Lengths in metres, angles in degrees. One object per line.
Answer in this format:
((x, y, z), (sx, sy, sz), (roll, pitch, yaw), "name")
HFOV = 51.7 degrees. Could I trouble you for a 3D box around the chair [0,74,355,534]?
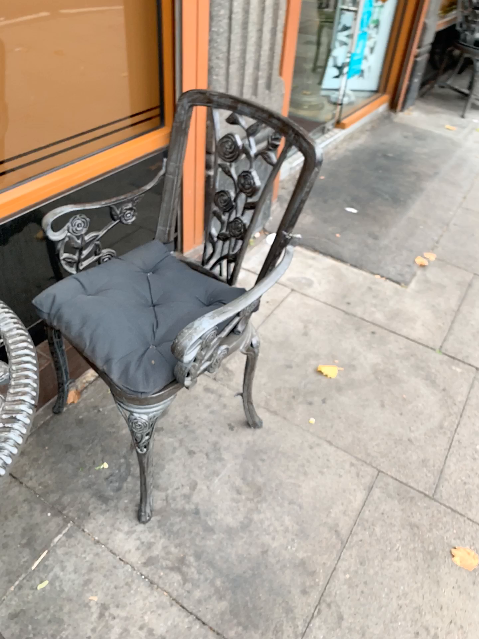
((-0.172, -0.060, 1.209), (0.492, 0.852, 0.553), (30, 41, 27), "chair")
